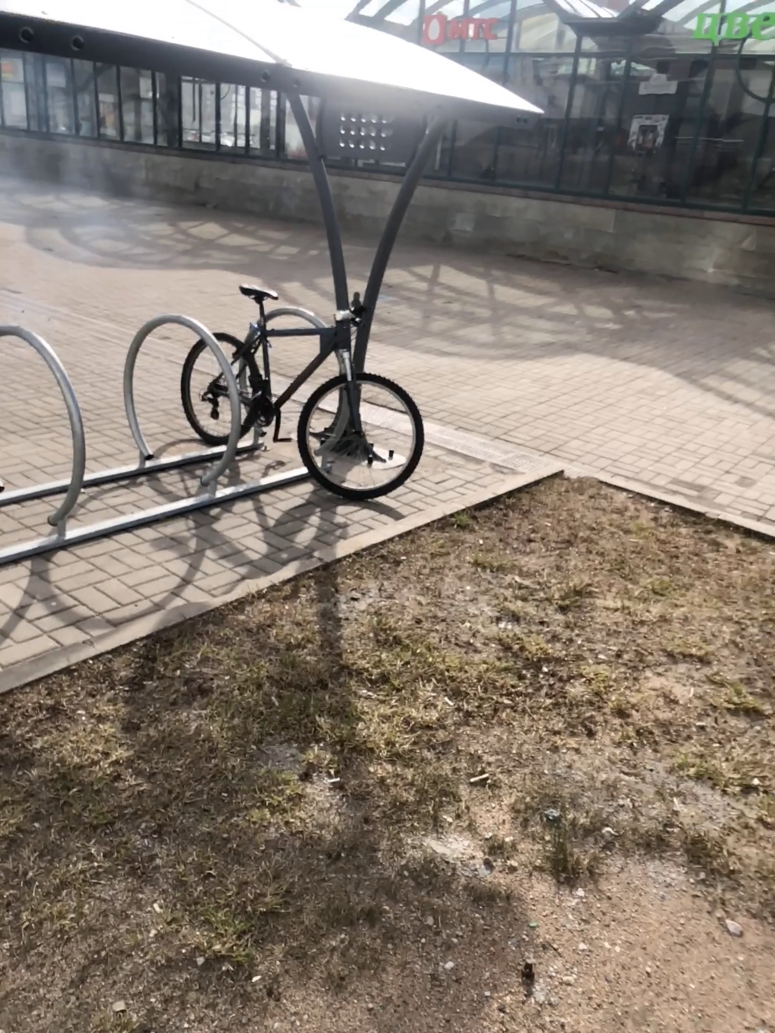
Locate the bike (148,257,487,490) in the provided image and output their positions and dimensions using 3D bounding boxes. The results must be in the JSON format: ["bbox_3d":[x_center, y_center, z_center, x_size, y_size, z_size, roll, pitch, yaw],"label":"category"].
[{"bbox_3d":[-0.434,-0.830,4.646,1.612,0.980,0.563,15,24,25],"label":"bike"}]
